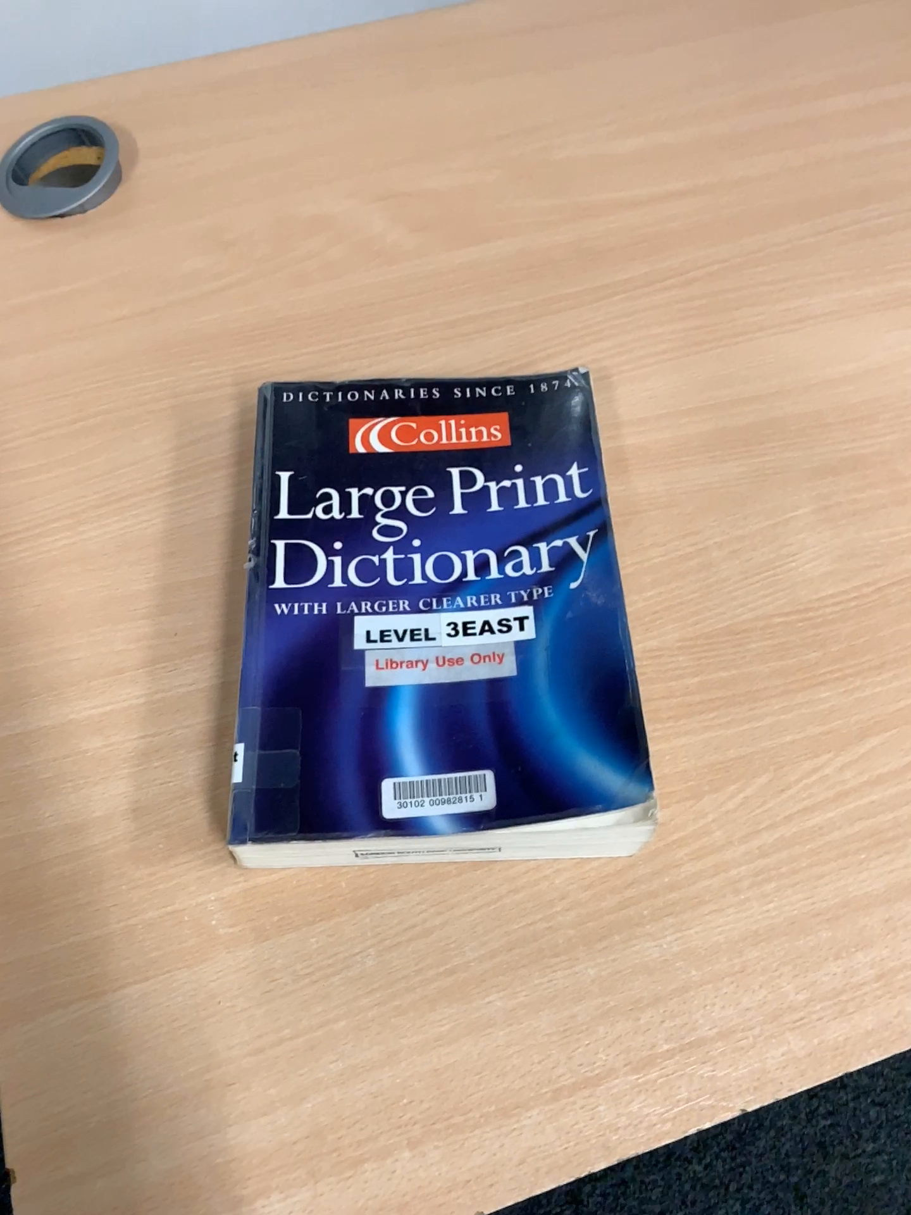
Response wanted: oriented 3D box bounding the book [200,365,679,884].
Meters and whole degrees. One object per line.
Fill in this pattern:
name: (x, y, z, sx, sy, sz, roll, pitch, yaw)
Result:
book: (-0.011, -0.002, 0.444, 0.187, 0.050, 0.243, -2, 62, -1)
